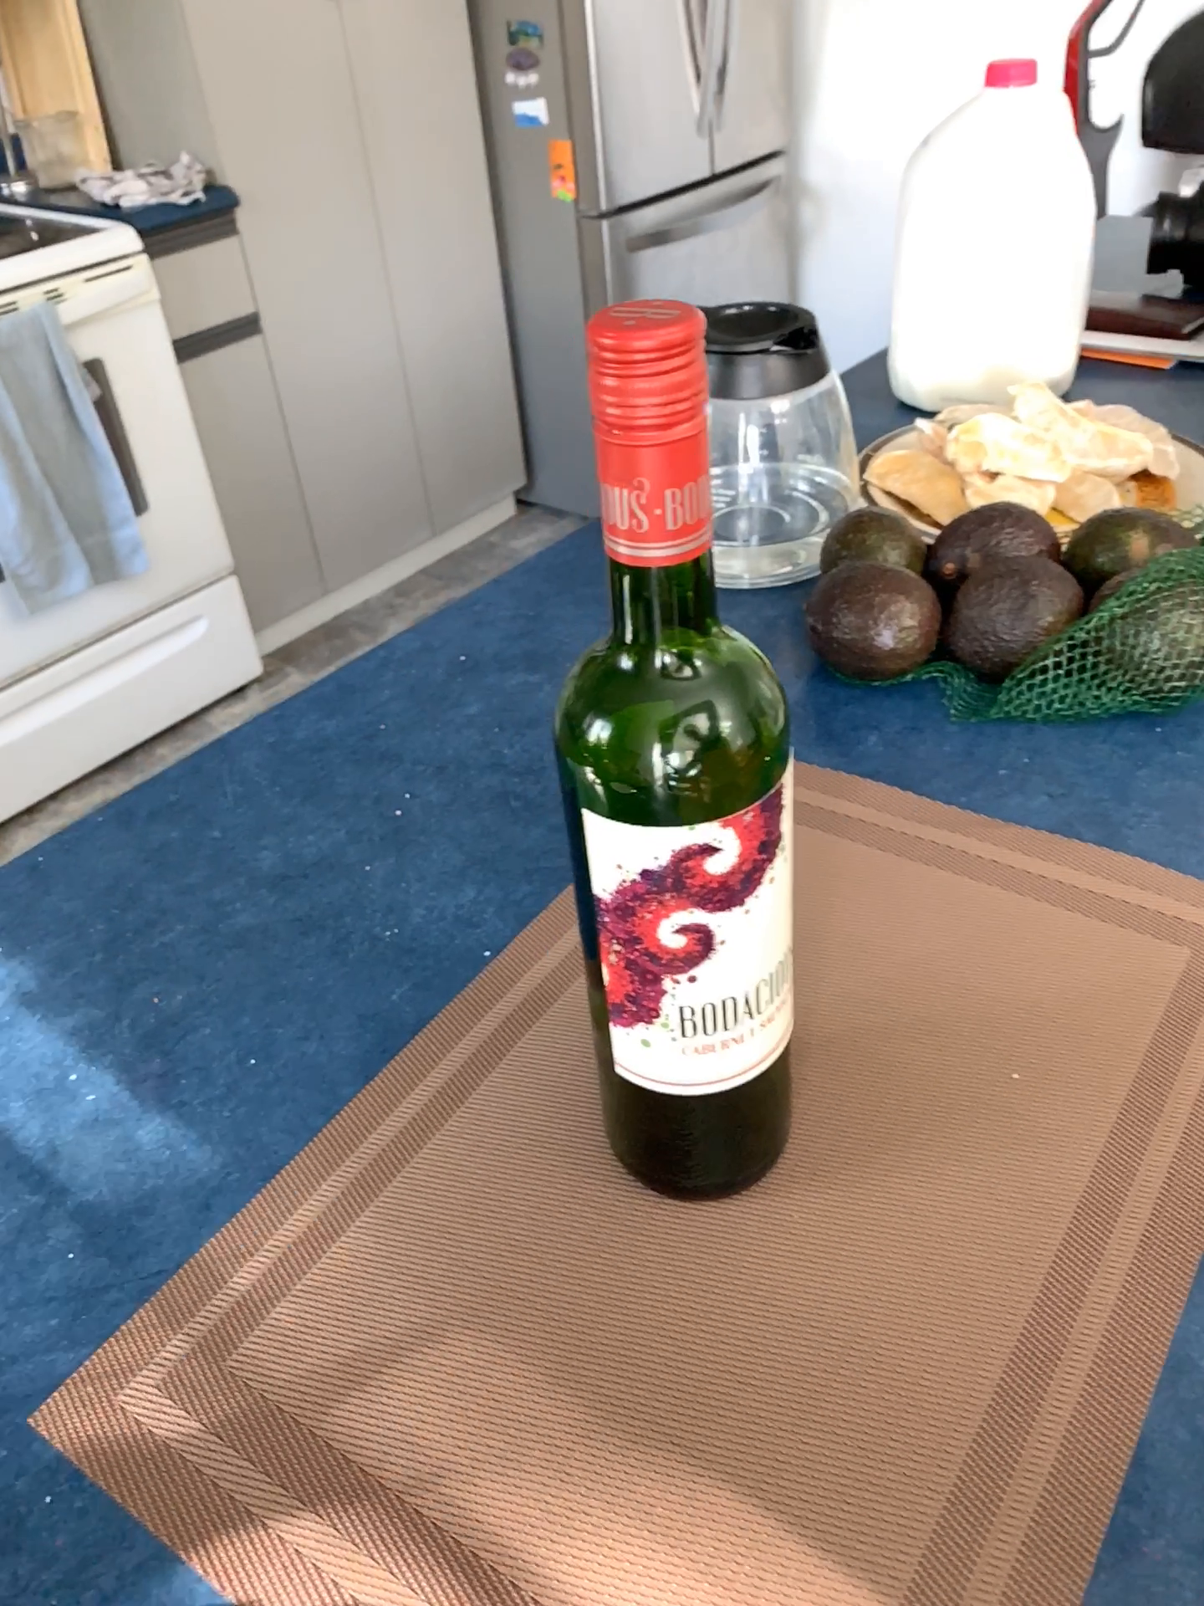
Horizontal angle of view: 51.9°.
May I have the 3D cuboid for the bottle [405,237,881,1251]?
[{"bbox_3d":[0.021,-0.001,0.381,0.080,0.297,0.080,-4,36,3],"label":"bottle"}]
